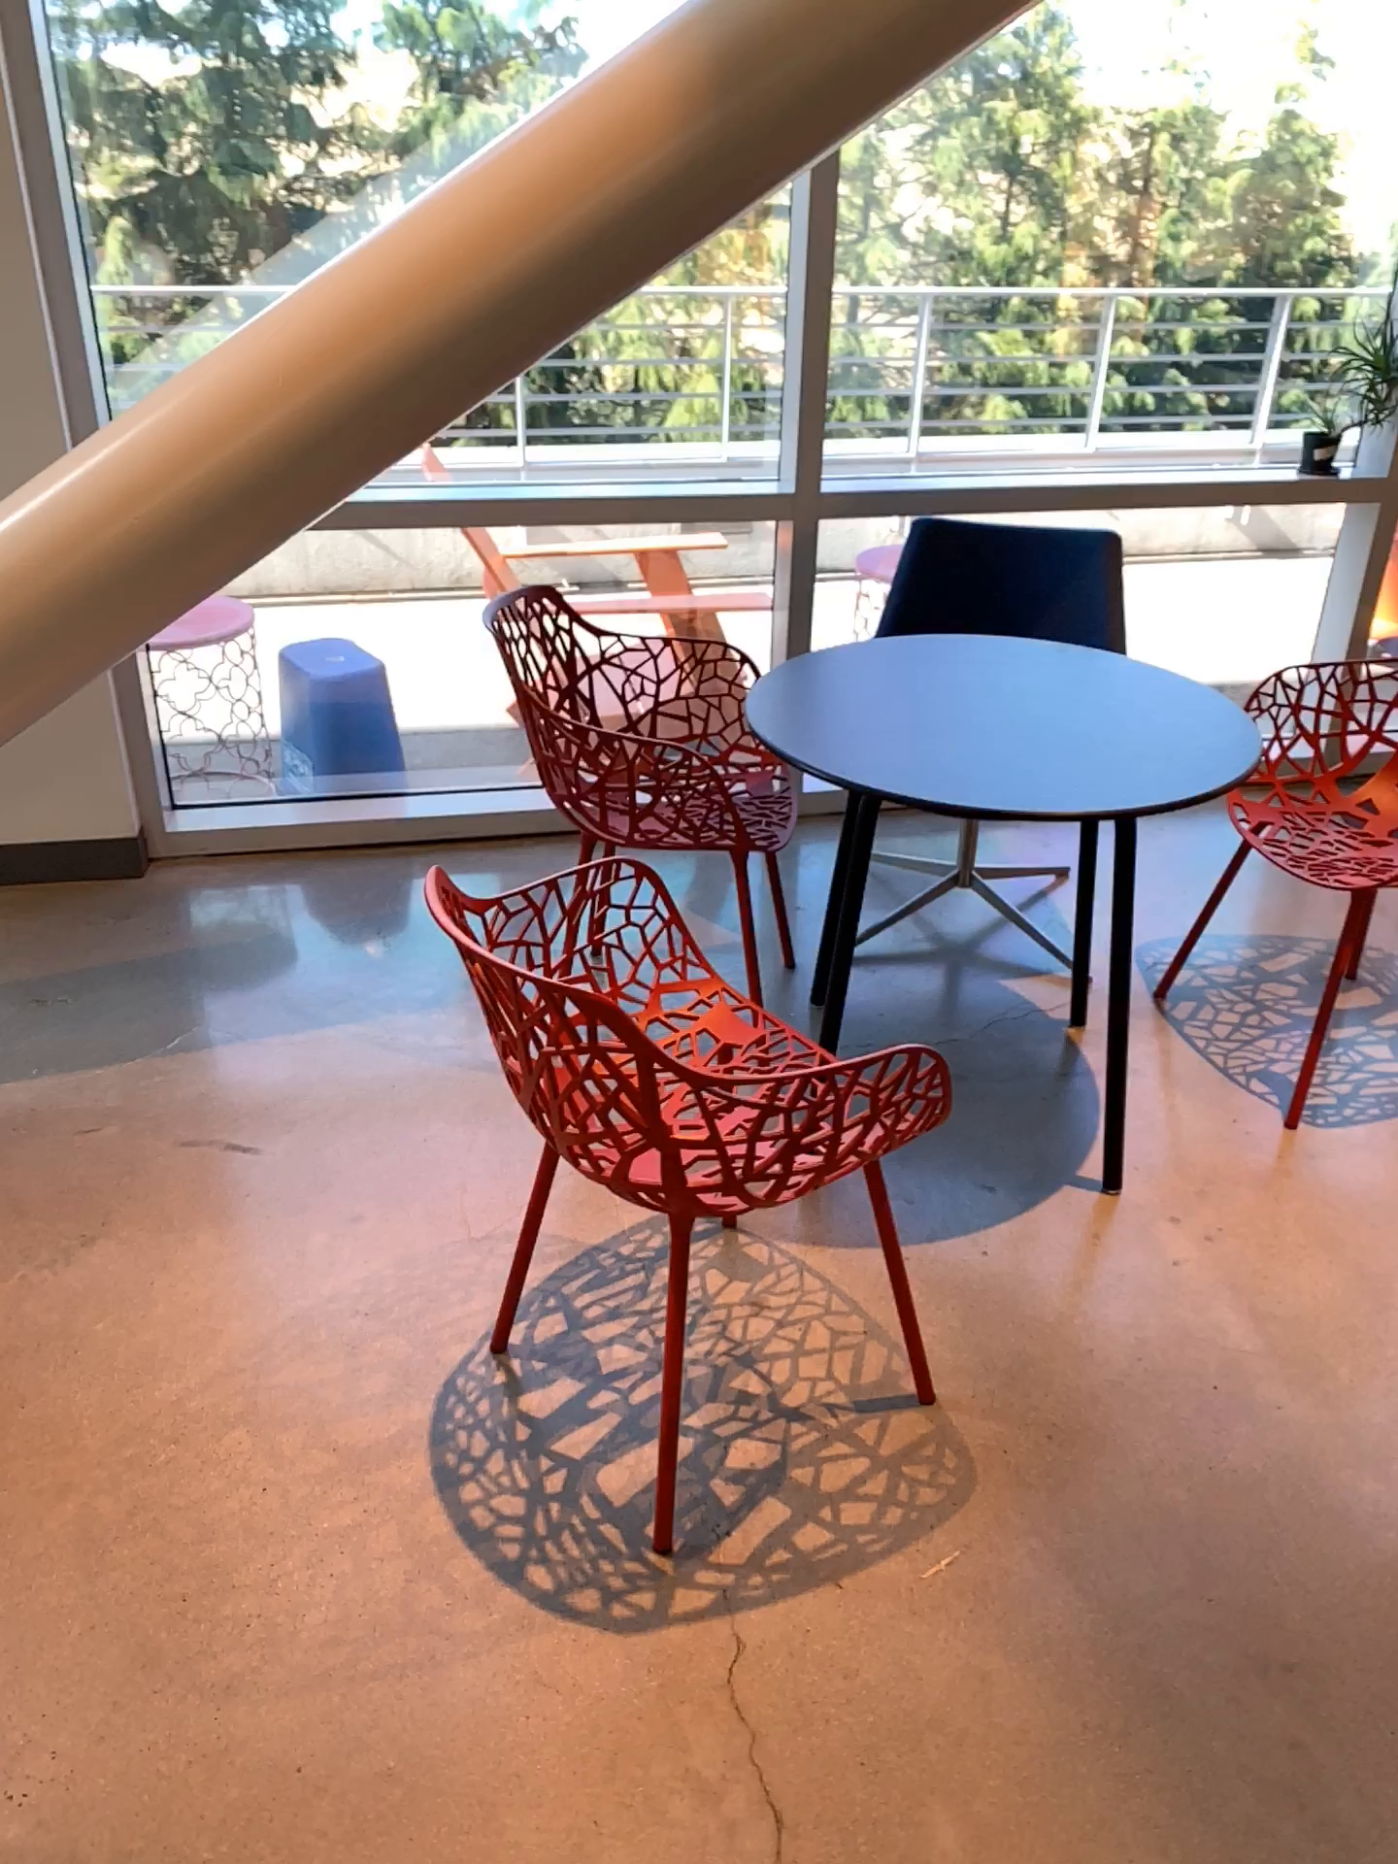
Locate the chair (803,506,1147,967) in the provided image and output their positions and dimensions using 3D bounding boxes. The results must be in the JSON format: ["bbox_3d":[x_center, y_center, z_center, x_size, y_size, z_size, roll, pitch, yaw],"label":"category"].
[{"bbox_3d":[0.573,-0.428,3.007,0.561,0.765,0.513,10,29,16],"label":"chair"}]

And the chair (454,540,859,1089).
[{"bbox_3d":[-0.055,-0.237,2.591,0.530,0.765,0.563,9,29,15],"label":"chair"}]

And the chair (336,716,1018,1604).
[{"bbox_3d":[-0.048,0.230,1.760,0.531,0.765,0.563,-17,33,-31],"label":"chair"}]

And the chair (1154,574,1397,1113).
[{"bbox_3d":[1.273,-0.181,2.579,0.560,0.765,0.553,-5,29,-12],"label":"chair"}]
